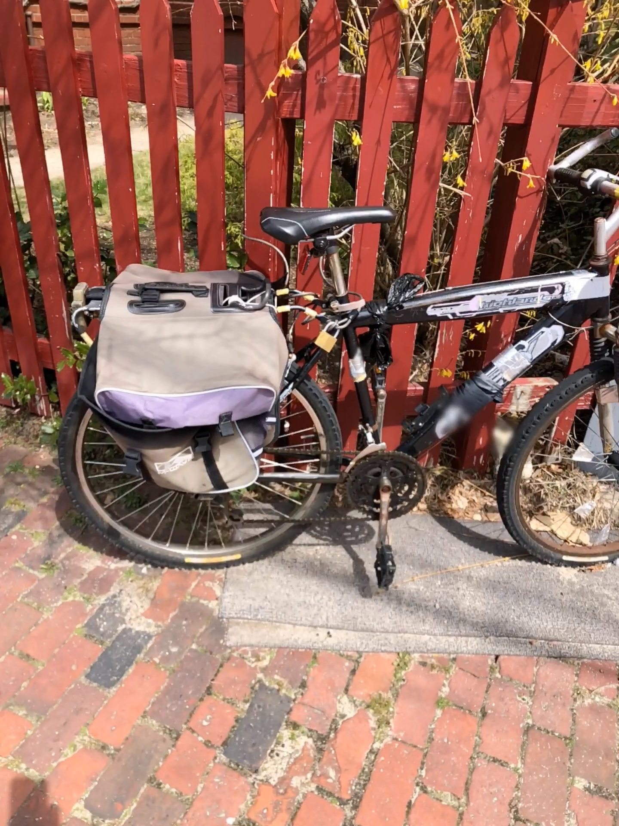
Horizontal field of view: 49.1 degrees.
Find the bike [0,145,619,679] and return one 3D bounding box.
[{"bbox_3d":[0.284,-0.051,1.634,1.724,1.000,0.676,-2,30,-7],"label":"bike"}]
